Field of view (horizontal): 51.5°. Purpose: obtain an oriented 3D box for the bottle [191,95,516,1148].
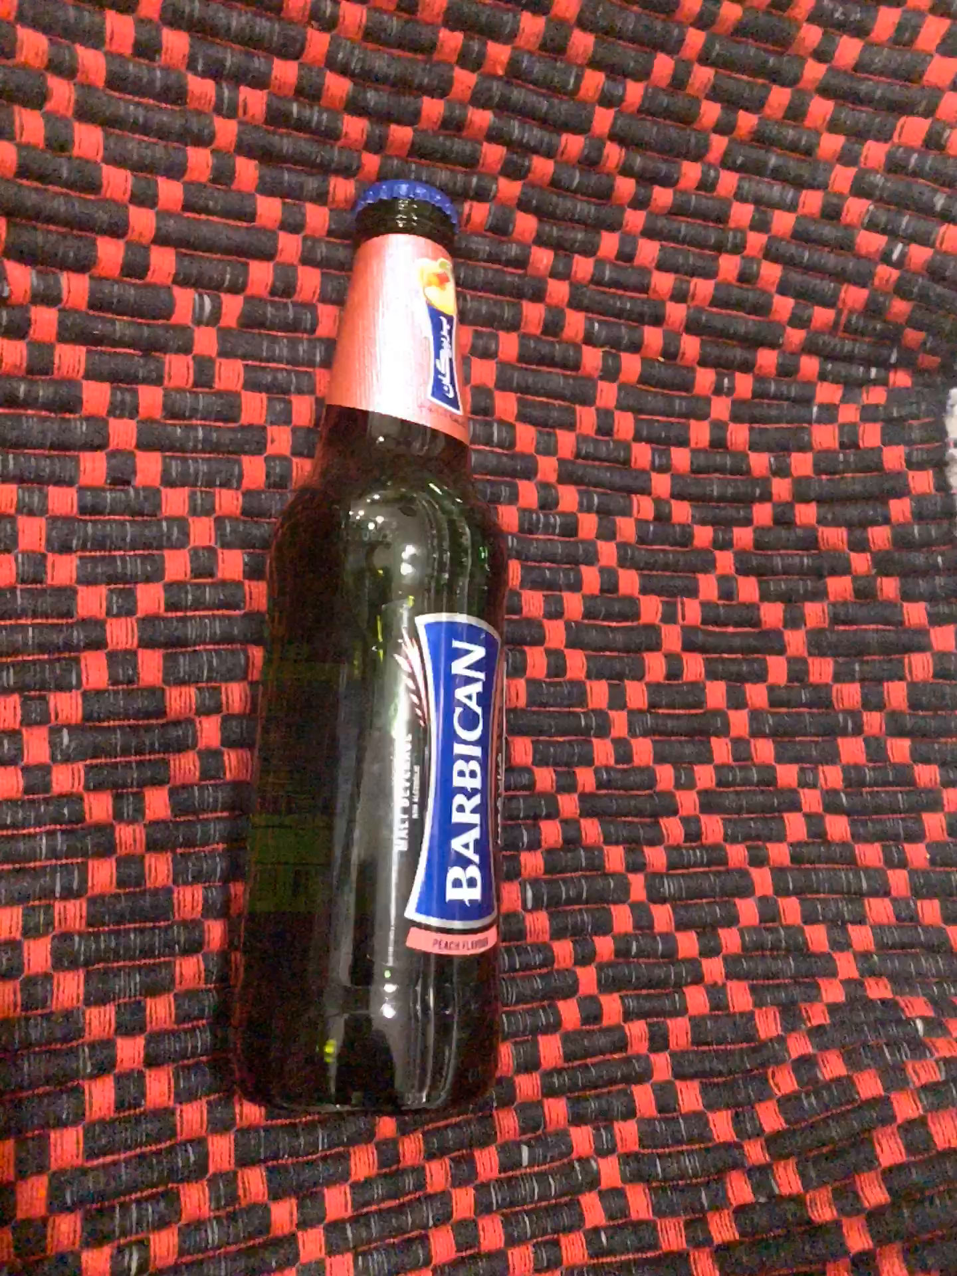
[{"bbox_3d":[-0.022,-0.010,0.230,0.050,0.050,0.220,-3,75,14],"label":"bottle"}]
